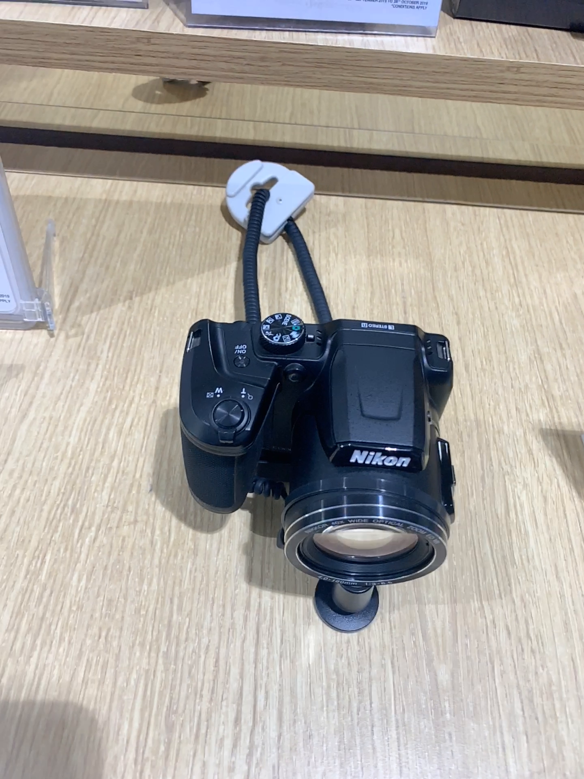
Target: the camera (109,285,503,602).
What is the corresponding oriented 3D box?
[{"bbox_3d":[0.004,0.023,0.242,0.120,0.080,0.090,4,52,-1],"label":"camera"}]
